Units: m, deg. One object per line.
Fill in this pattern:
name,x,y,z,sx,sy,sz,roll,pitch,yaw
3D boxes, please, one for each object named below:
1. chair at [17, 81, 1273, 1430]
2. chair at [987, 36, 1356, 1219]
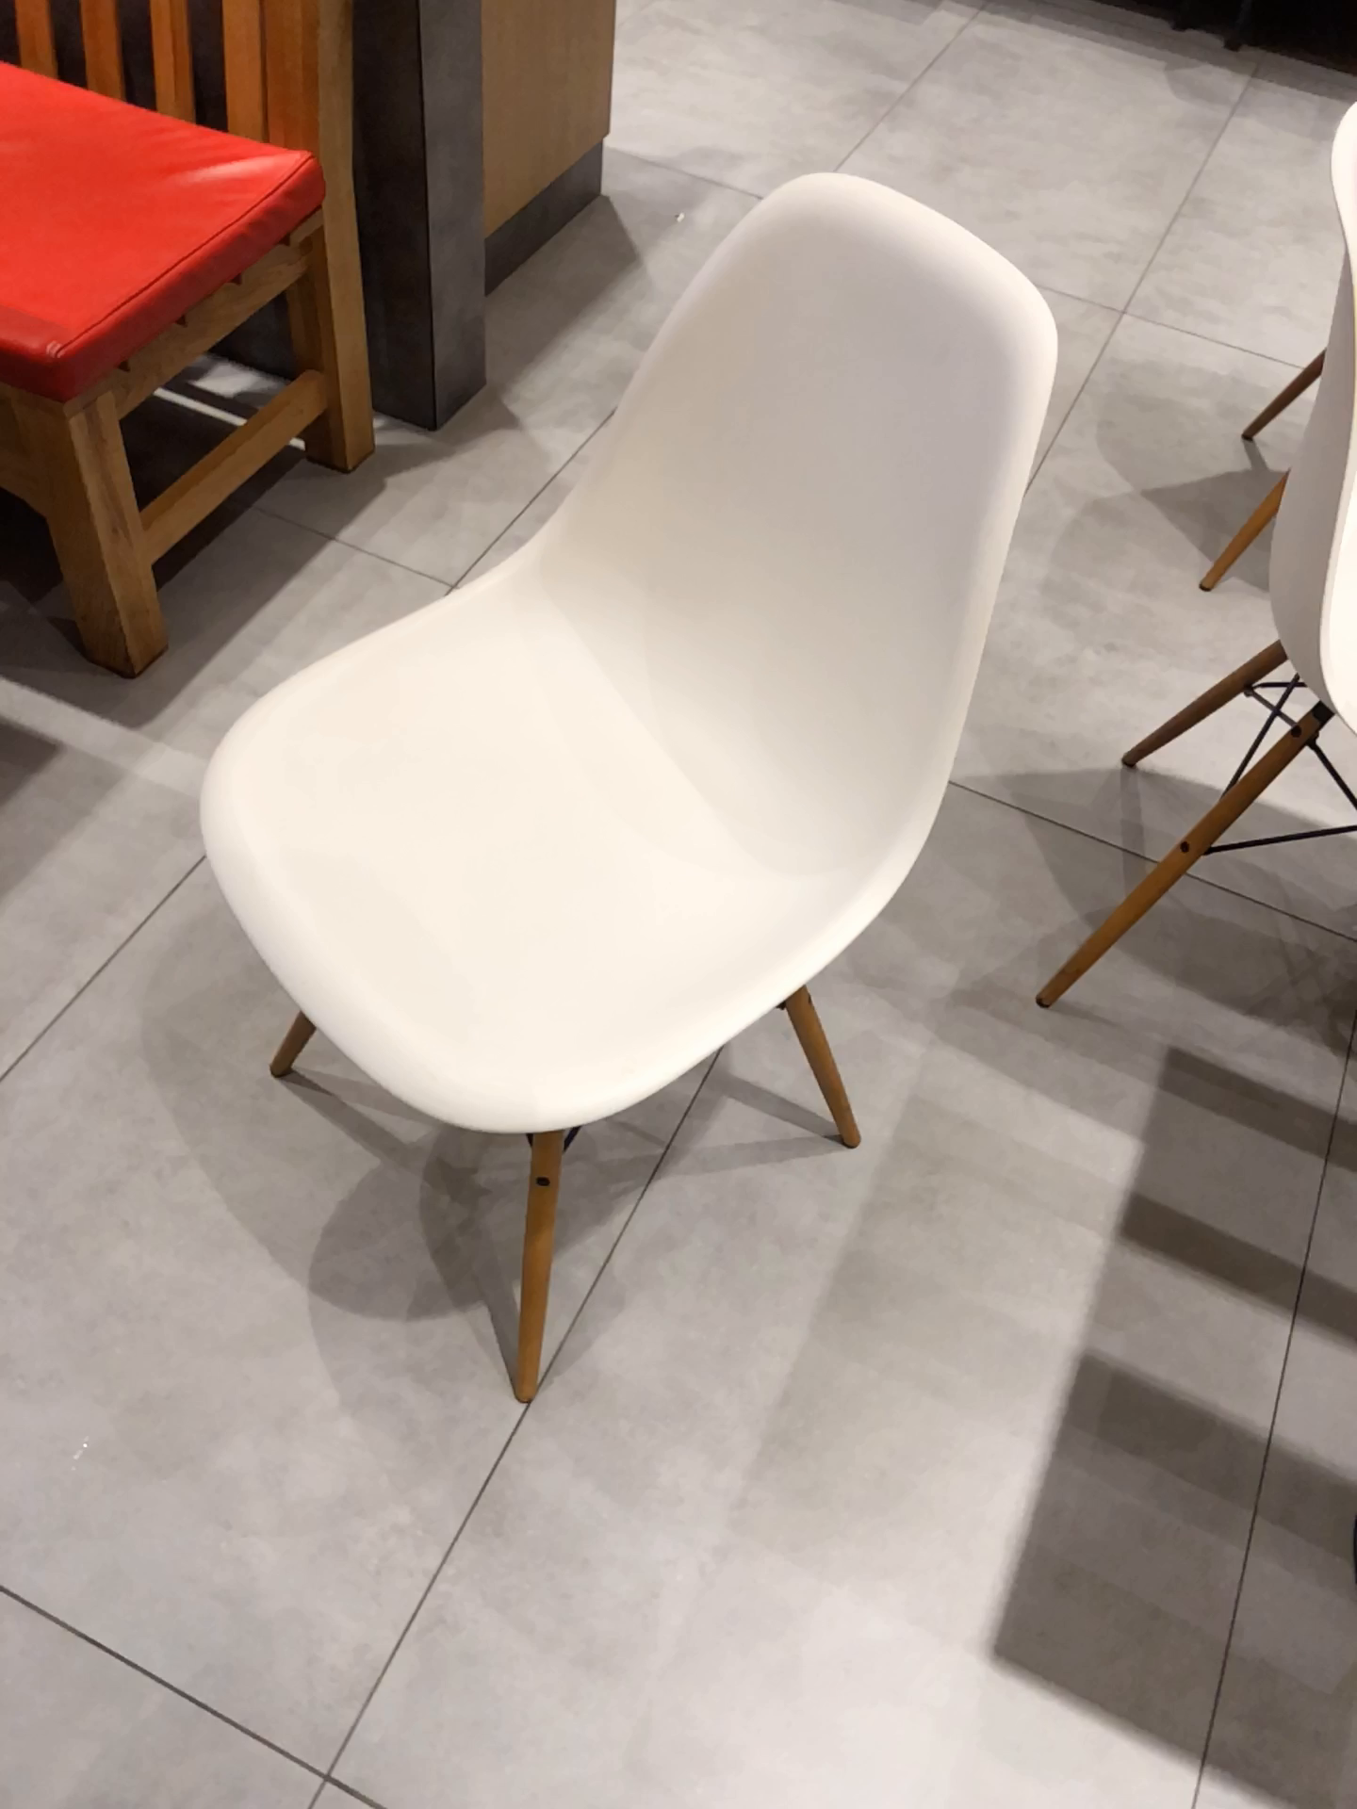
chair,-0.047,-0.084,1.155,0.553,0.779,0.472,-31,61,-27
chair,0.708,-0.224,1.363,0.512,0.769,0.563,23,52,11
